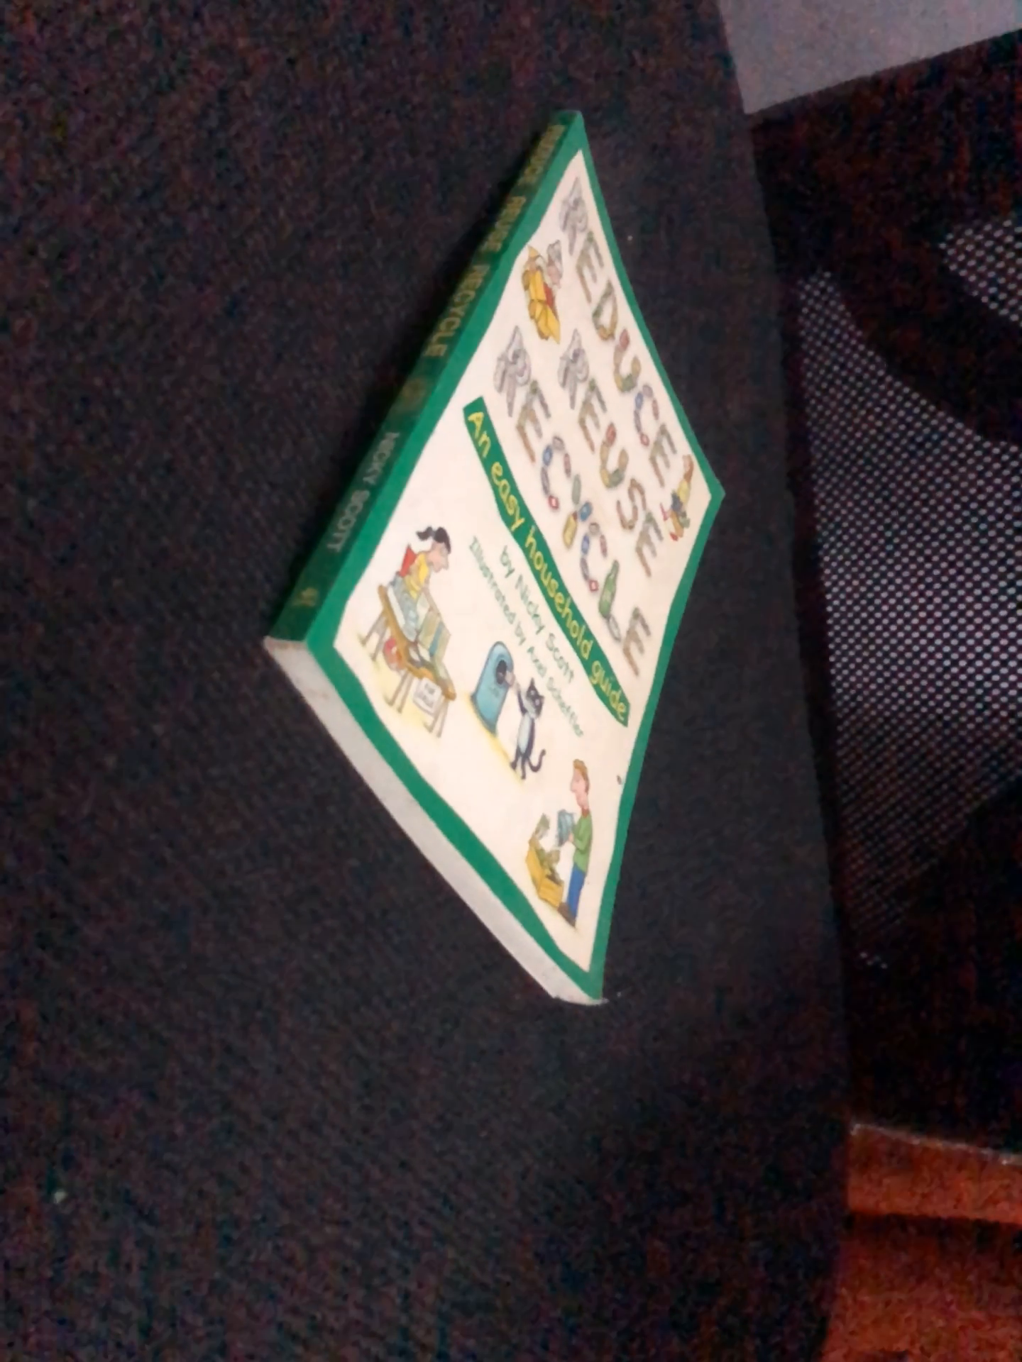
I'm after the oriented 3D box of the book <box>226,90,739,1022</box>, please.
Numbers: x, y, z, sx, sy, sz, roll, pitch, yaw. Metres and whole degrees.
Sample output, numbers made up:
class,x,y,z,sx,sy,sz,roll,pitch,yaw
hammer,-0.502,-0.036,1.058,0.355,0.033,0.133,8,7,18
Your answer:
class,x,y,z,sx,sy,sz,roll,pitch,yaw
book,0.014,-0.031,0.265,0.131,0.018,0.174,58,39,-41
